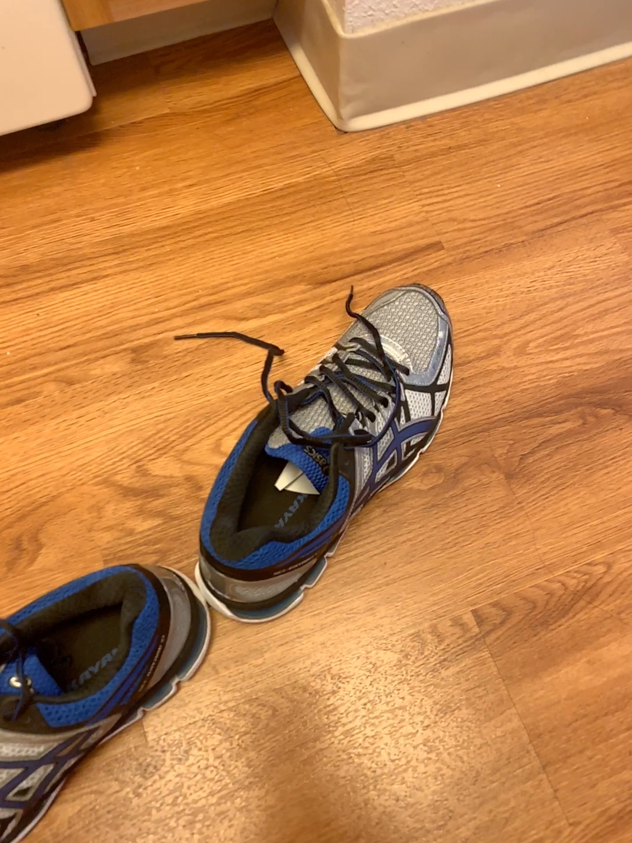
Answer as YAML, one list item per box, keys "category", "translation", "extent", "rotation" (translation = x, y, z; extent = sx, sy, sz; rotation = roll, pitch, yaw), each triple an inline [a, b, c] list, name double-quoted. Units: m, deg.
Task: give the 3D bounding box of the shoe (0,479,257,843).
- category: "shoe"
  translation: [-0.197, 0.190, 0.395]
  extent: [0.300, 0.120, 0.120]
  rotation: [-37, 70, -15]

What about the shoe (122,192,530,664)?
- category: "shoe"
  translation: [0.021, -0.003, 0.491]
  extent: [0.120, 0.110, 0.330]
  rotation: [30, 69, 14]
